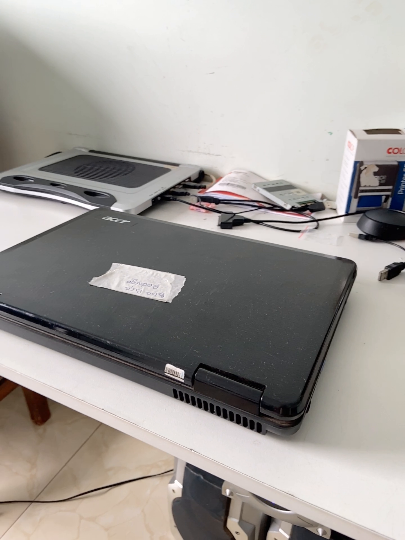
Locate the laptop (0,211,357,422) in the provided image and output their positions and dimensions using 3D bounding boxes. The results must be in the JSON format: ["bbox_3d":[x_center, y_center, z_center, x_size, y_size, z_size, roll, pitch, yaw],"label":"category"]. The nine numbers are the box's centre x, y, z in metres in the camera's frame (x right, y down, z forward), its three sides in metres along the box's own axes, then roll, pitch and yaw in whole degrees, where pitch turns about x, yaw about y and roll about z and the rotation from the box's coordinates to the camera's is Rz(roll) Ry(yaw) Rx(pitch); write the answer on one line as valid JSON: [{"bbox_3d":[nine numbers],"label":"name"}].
[{"bbox_3d":[-0.044,0.007,0.439,0.356,0.005,0.240,14,32,24],"label":"laptop"}]
